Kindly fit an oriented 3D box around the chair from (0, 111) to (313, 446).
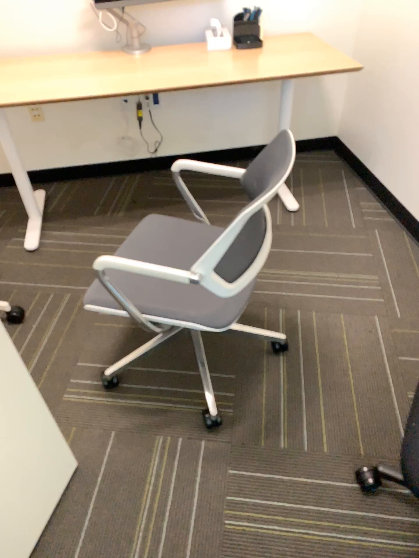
[{"bbox_3d":[-0.071,-0.009,1.181,0.591,0.666,0.553,8,44,10],"label":"chair"}]
